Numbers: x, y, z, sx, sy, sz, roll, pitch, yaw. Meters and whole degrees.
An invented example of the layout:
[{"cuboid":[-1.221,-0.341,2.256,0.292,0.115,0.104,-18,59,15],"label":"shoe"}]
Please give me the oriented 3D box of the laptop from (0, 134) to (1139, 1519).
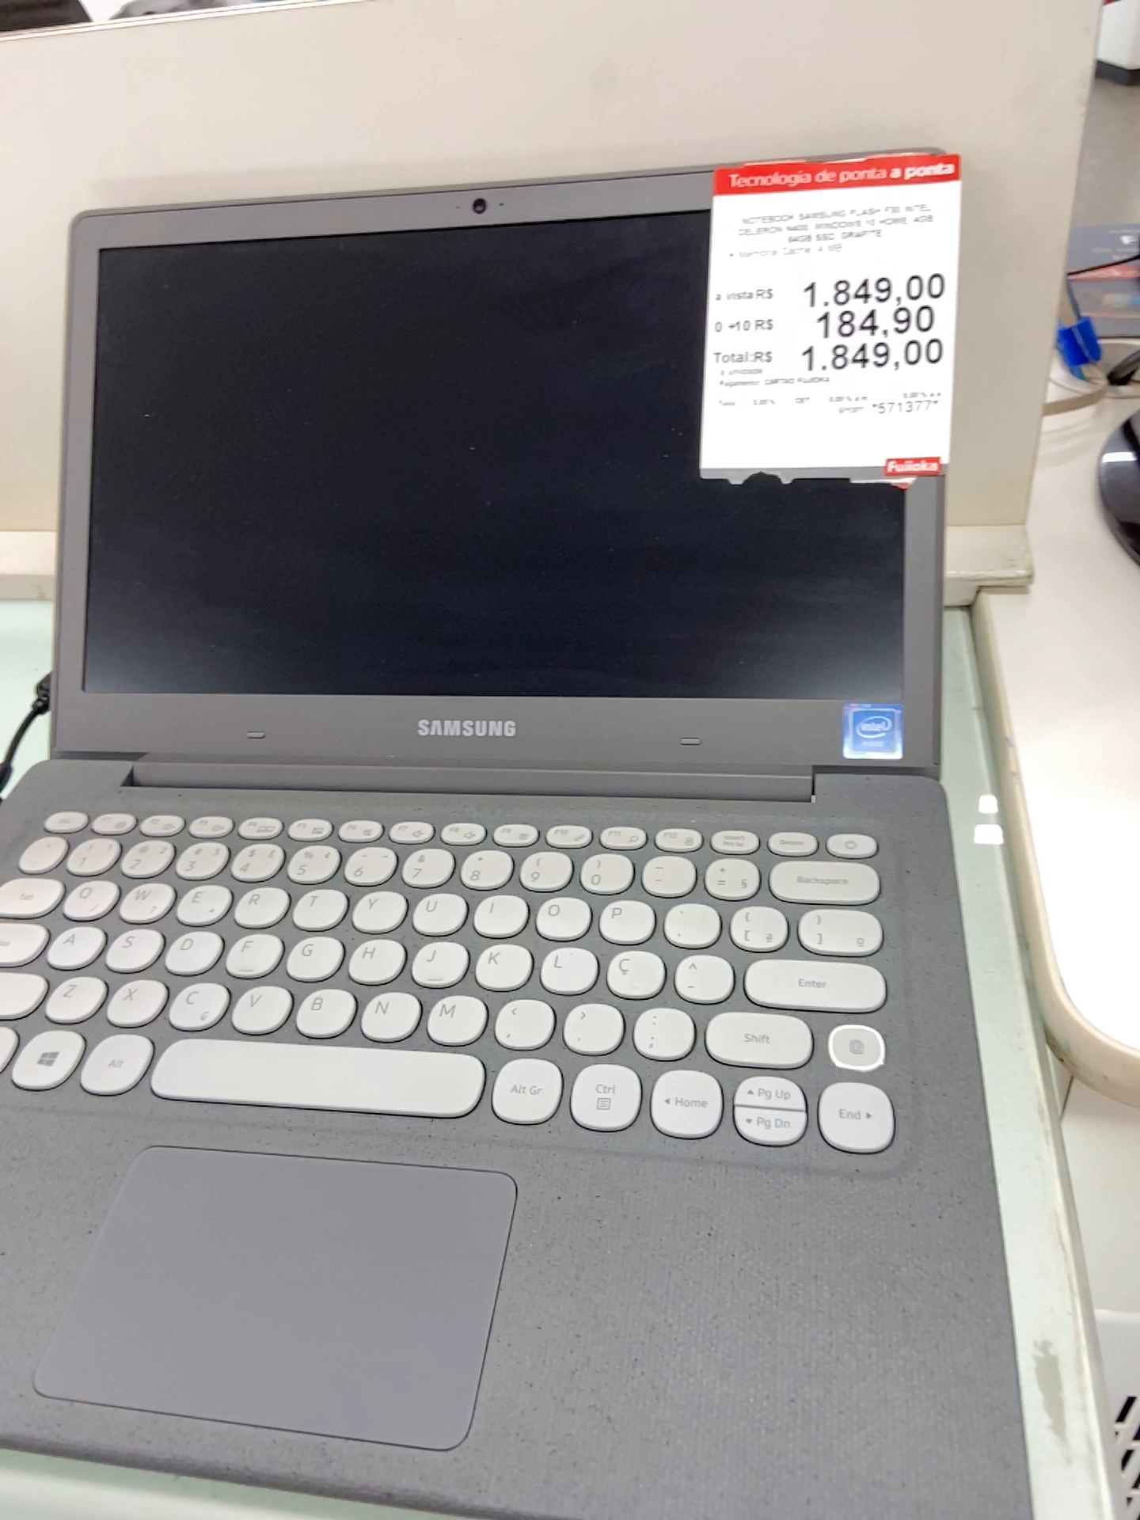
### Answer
[{"cuboid":[-0.053,-0.031,0.333,0.319,0.144,0.366,1,42,11],"label":"laptop"}]
